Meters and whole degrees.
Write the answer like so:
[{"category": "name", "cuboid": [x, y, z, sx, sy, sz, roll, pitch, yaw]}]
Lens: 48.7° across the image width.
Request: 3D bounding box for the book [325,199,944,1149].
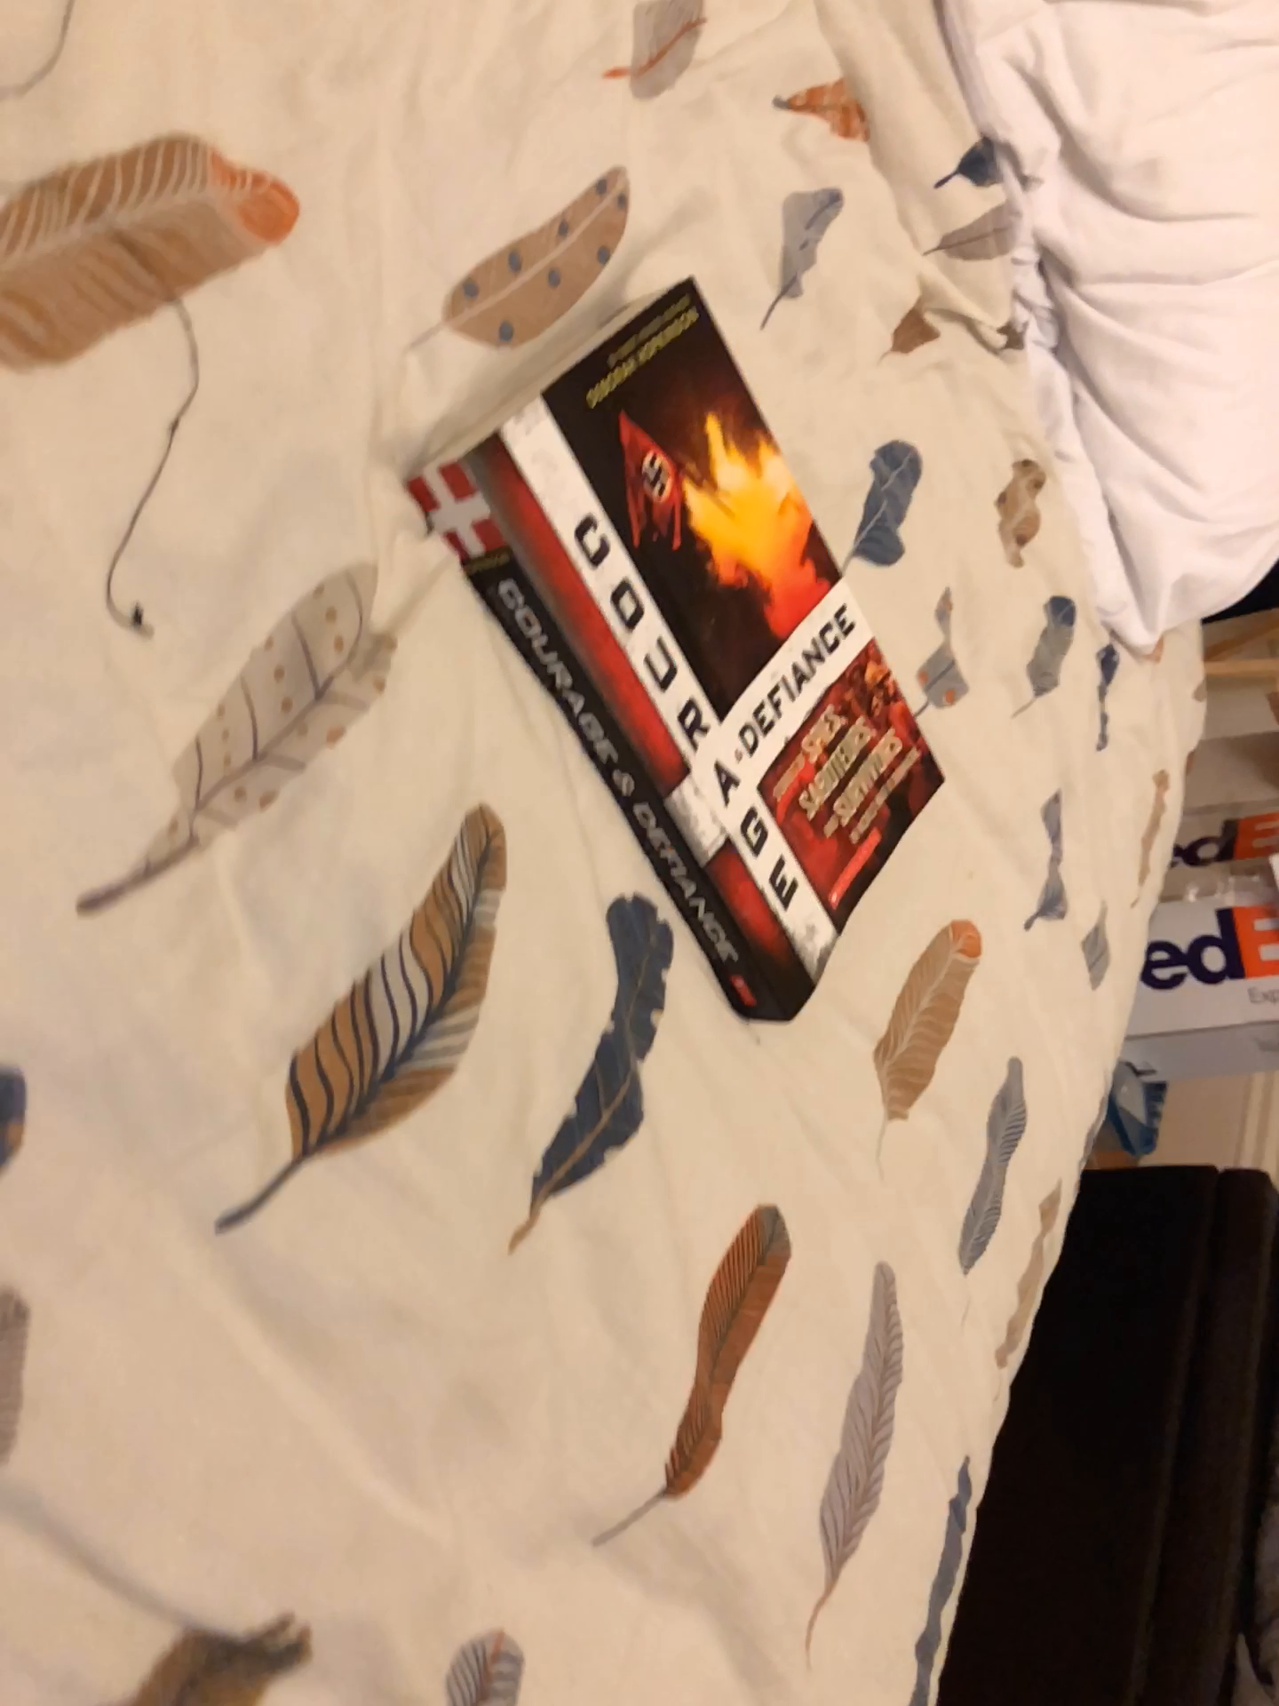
[{"category": "book", "cuboid": [0.024, -0.060, 0.449, 0.230, 0.020, 0.201, 58, 40, -28]}]
